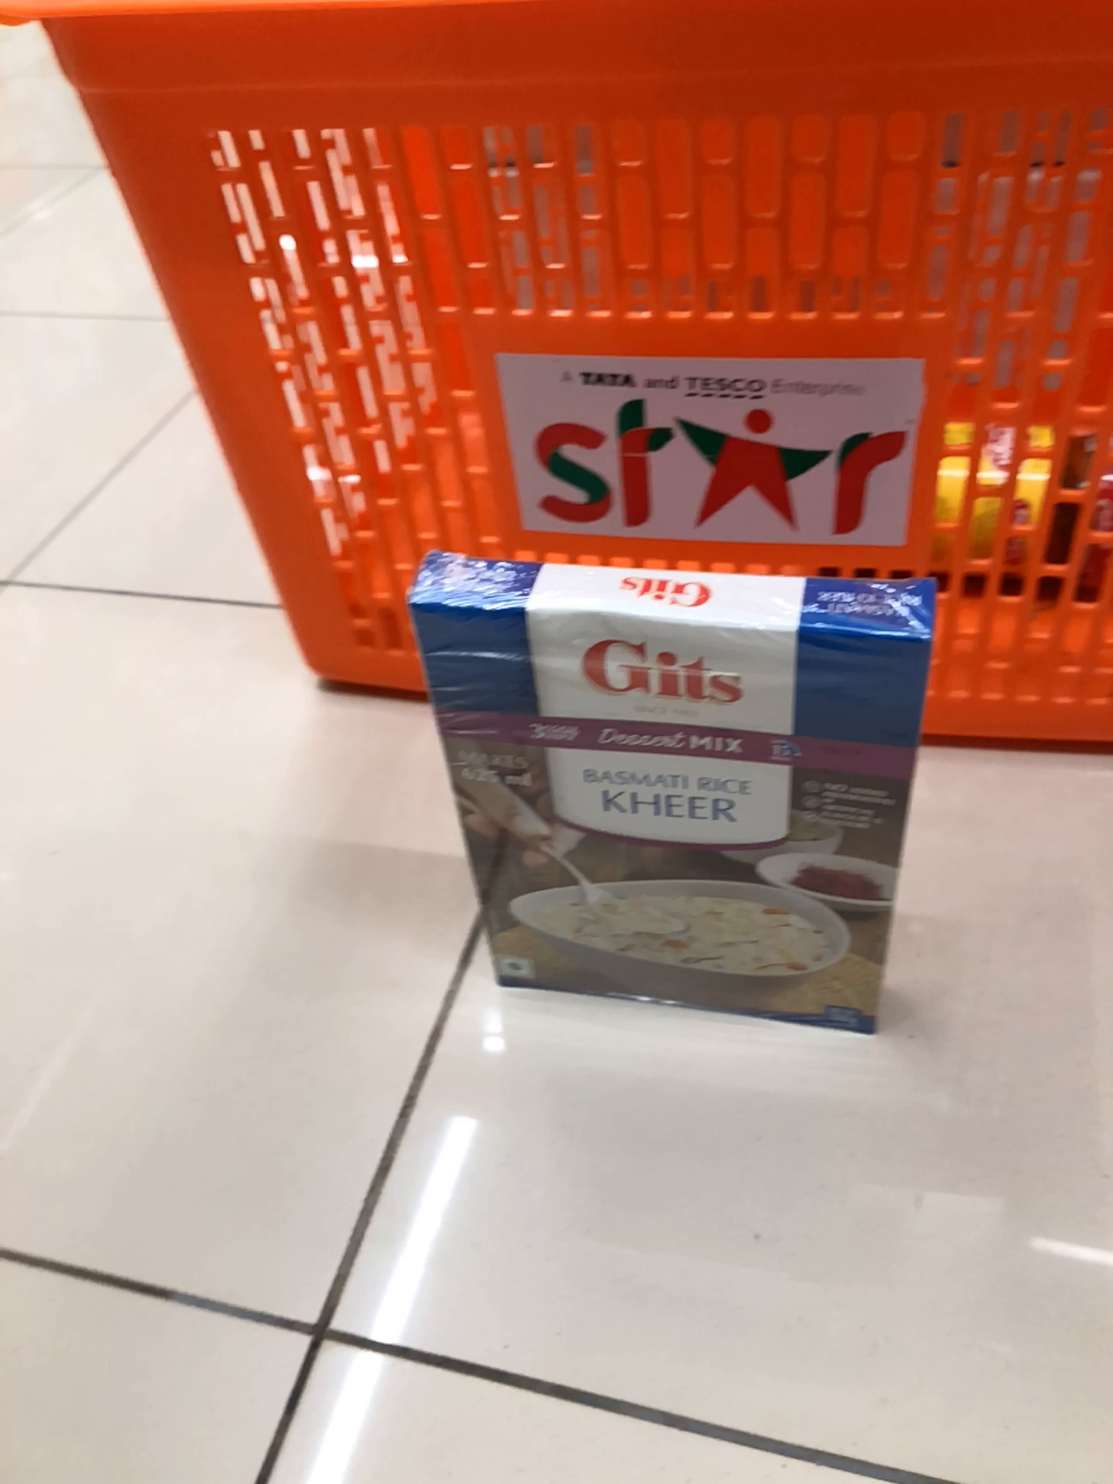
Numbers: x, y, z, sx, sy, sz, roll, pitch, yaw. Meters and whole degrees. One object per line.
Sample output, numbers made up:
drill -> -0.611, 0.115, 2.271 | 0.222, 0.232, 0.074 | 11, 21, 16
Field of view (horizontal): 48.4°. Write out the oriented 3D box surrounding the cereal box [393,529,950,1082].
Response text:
cereal box -> 0.033, 0.023, 0.327 | 0.120, 0.159, 0.030 | 5, 43, 14
